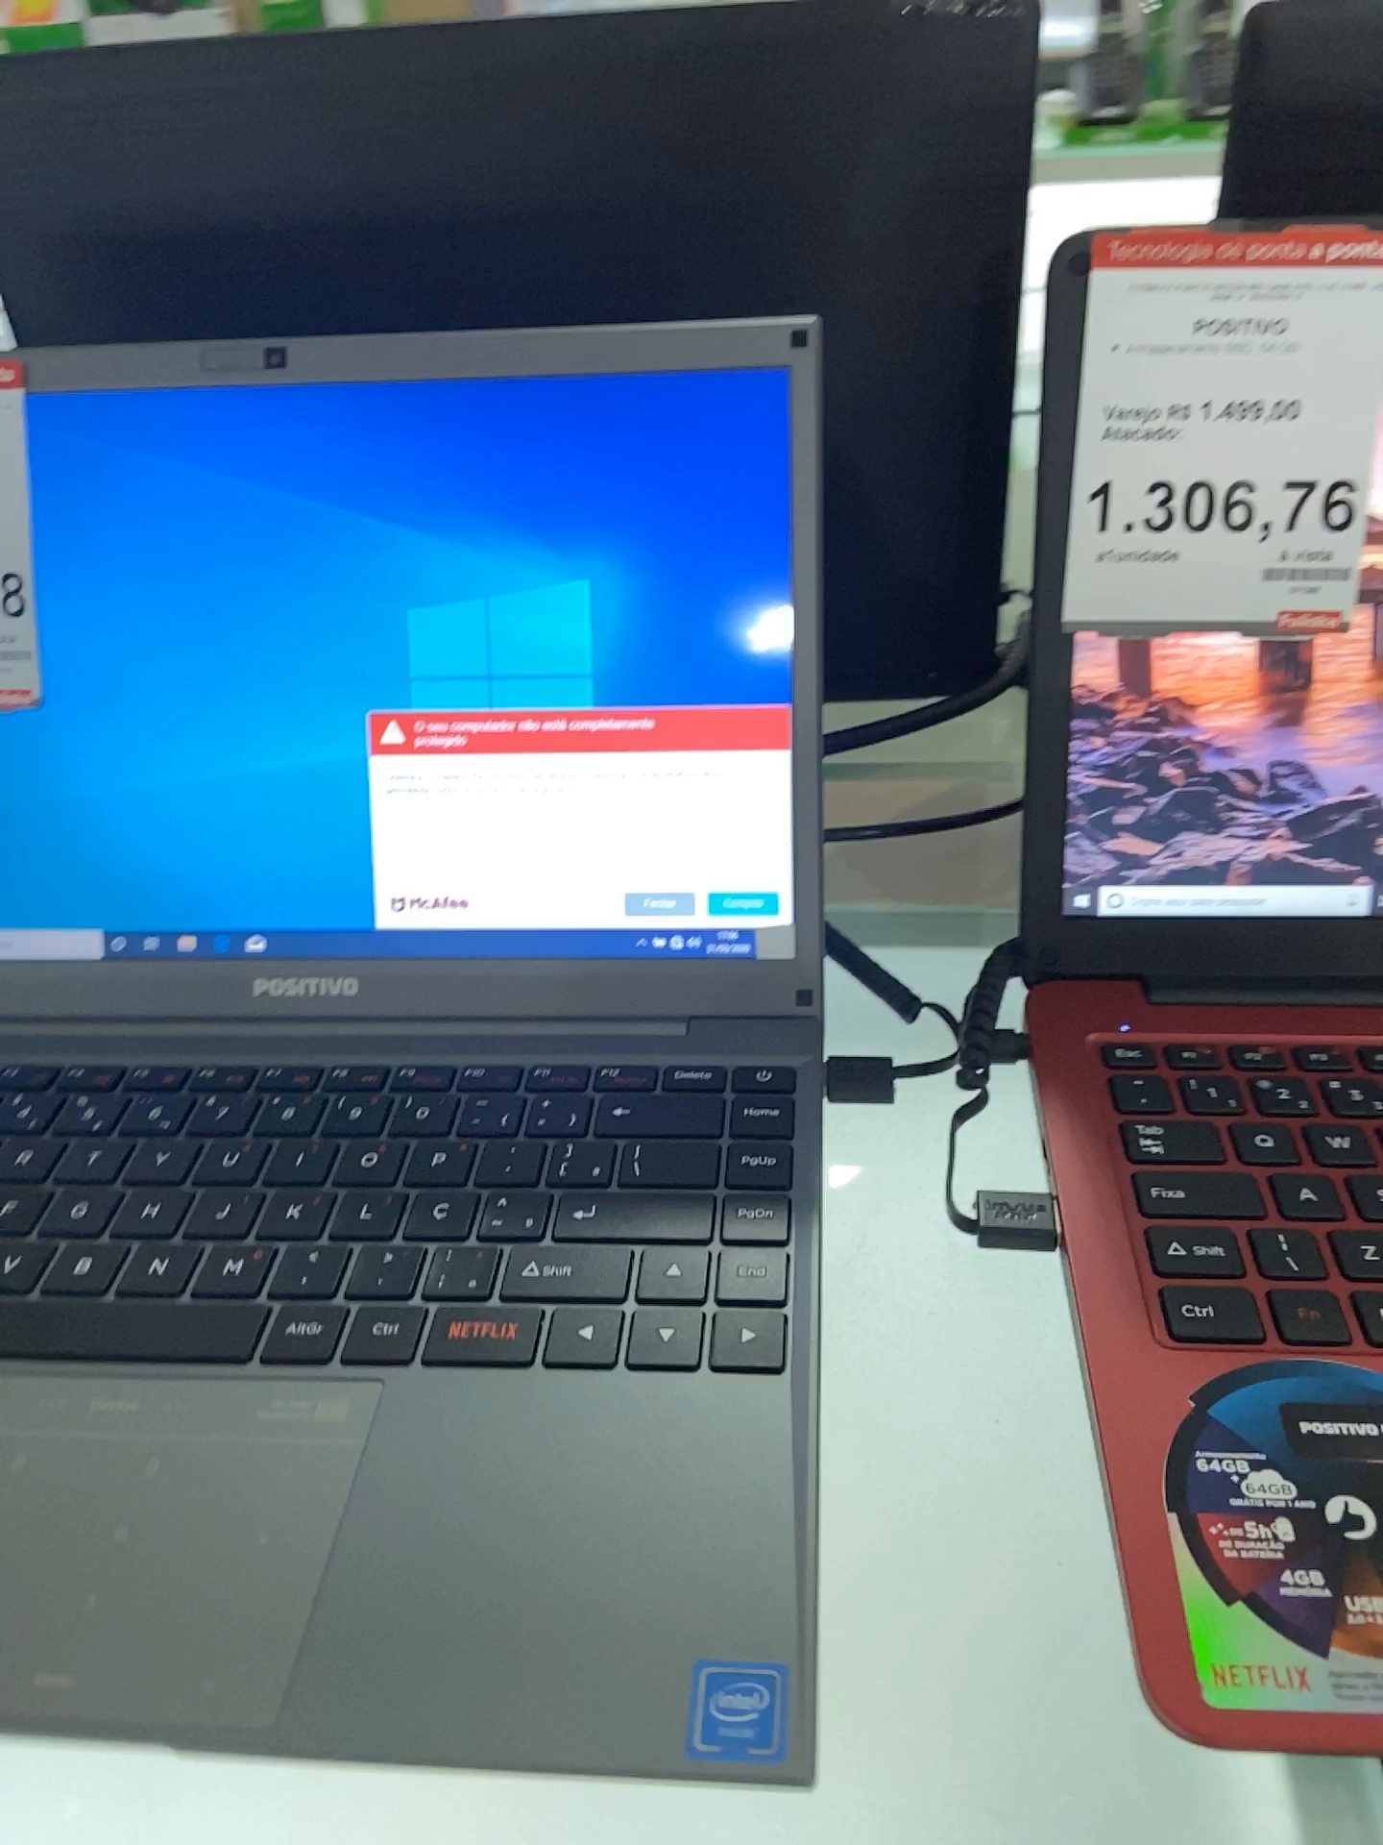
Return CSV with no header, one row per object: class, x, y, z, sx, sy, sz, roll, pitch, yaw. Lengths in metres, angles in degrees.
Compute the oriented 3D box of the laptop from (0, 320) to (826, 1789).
laptop,-0.134,-0.010,0.357,0.329,0.183,0.321,0,35,6
